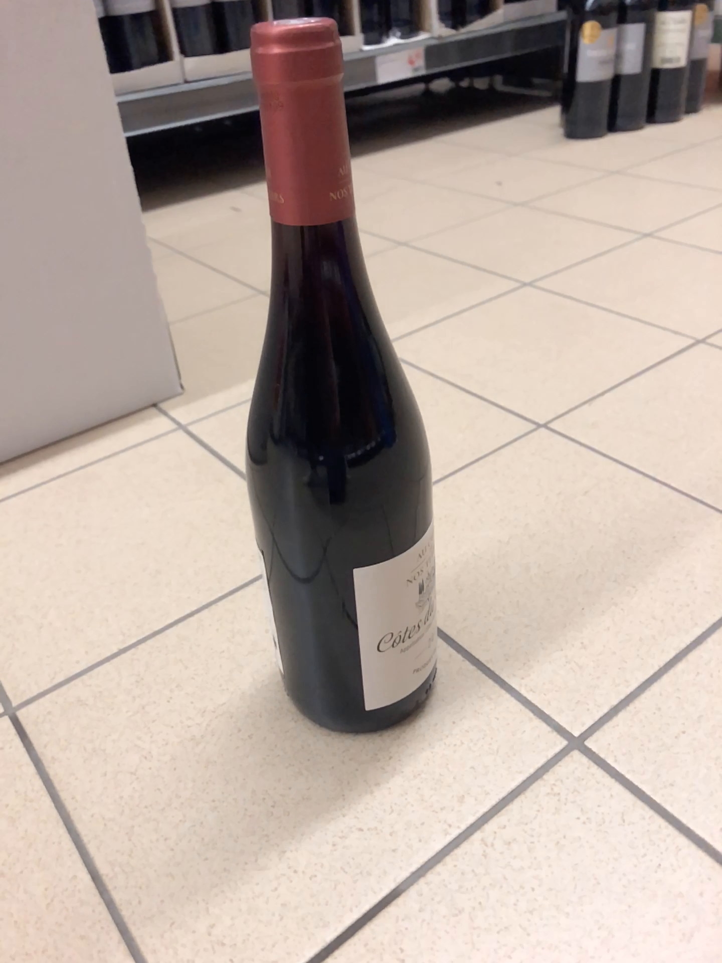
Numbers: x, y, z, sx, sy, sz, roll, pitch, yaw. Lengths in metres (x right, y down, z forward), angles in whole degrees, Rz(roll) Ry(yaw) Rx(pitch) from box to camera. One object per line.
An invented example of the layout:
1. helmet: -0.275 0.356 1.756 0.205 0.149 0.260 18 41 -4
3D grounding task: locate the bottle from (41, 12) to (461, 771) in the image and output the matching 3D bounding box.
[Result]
1. bottle: -0.019 -0.022 0.312 0.090 0.268 0.091 -4 34 2
